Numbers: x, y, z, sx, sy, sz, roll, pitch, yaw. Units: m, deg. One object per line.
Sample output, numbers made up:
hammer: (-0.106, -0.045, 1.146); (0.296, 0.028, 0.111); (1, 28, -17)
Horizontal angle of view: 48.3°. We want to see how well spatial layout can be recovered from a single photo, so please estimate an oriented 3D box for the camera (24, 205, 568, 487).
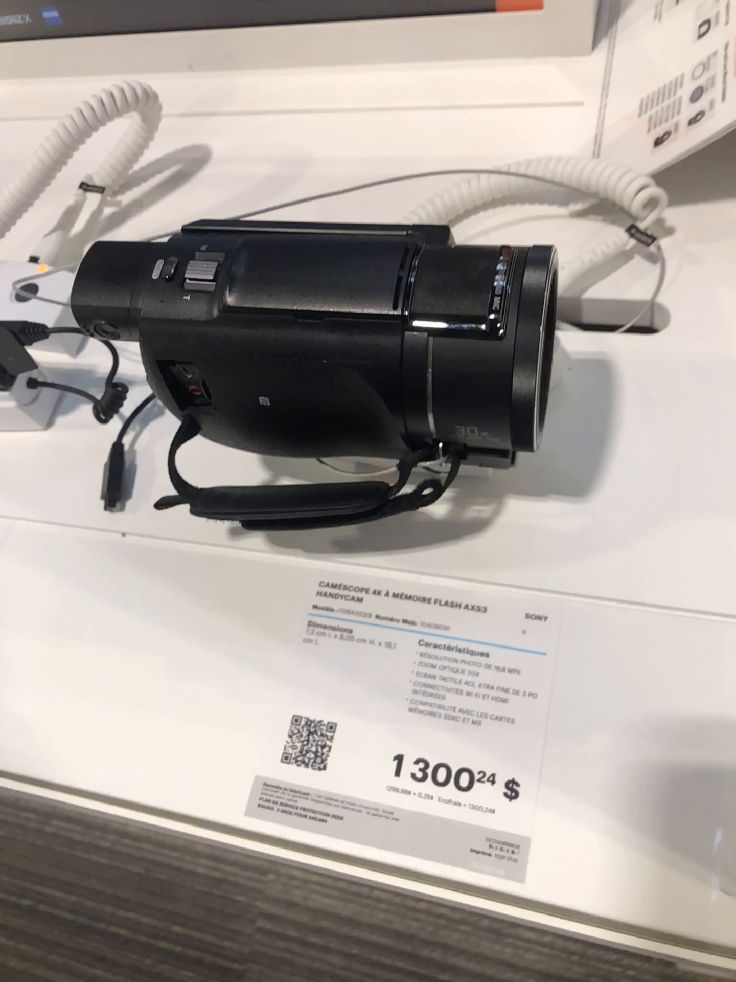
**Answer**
camera: (-0.020, -0.052, 0.287); (0.168, 0.066, 0.061); (6, 62, 17)
